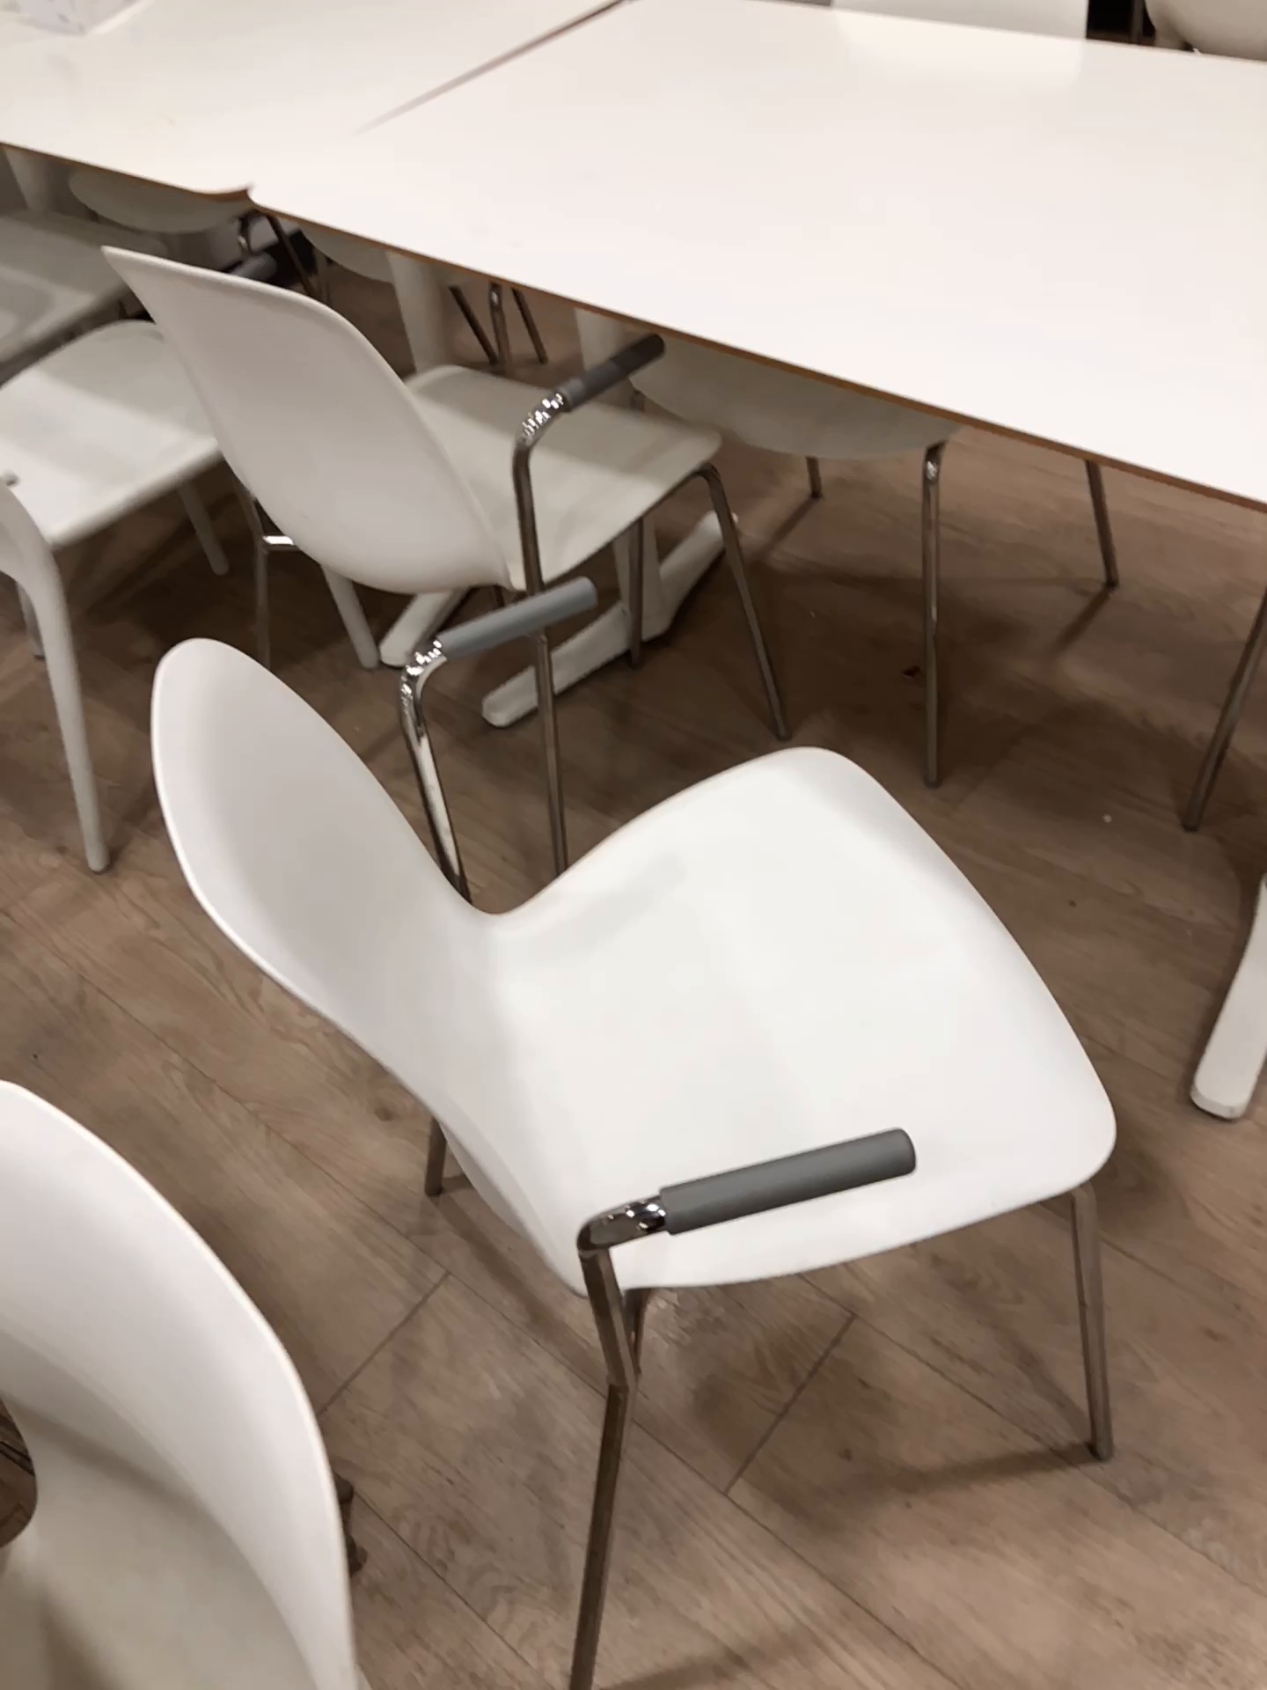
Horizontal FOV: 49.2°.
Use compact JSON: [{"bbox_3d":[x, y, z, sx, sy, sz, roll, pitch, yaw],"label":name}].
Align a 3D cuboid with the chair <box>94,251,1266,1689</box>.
[{"bbox_3d":[0.041,0.133,1.022,0.530,0.805,0.574,-18,46,-7],"label":"chair"}]
